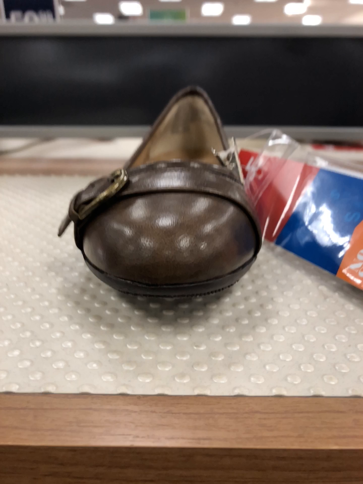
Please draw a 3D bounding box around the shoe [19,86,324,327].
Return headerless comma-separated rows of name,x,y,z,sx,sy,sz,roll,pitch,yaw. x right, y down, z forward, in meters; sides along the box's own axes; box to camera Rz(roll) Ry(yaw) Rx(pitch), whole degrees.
shoe,0.003,-0.058,0.268,0.092,0.080,0.279,1,21,3
